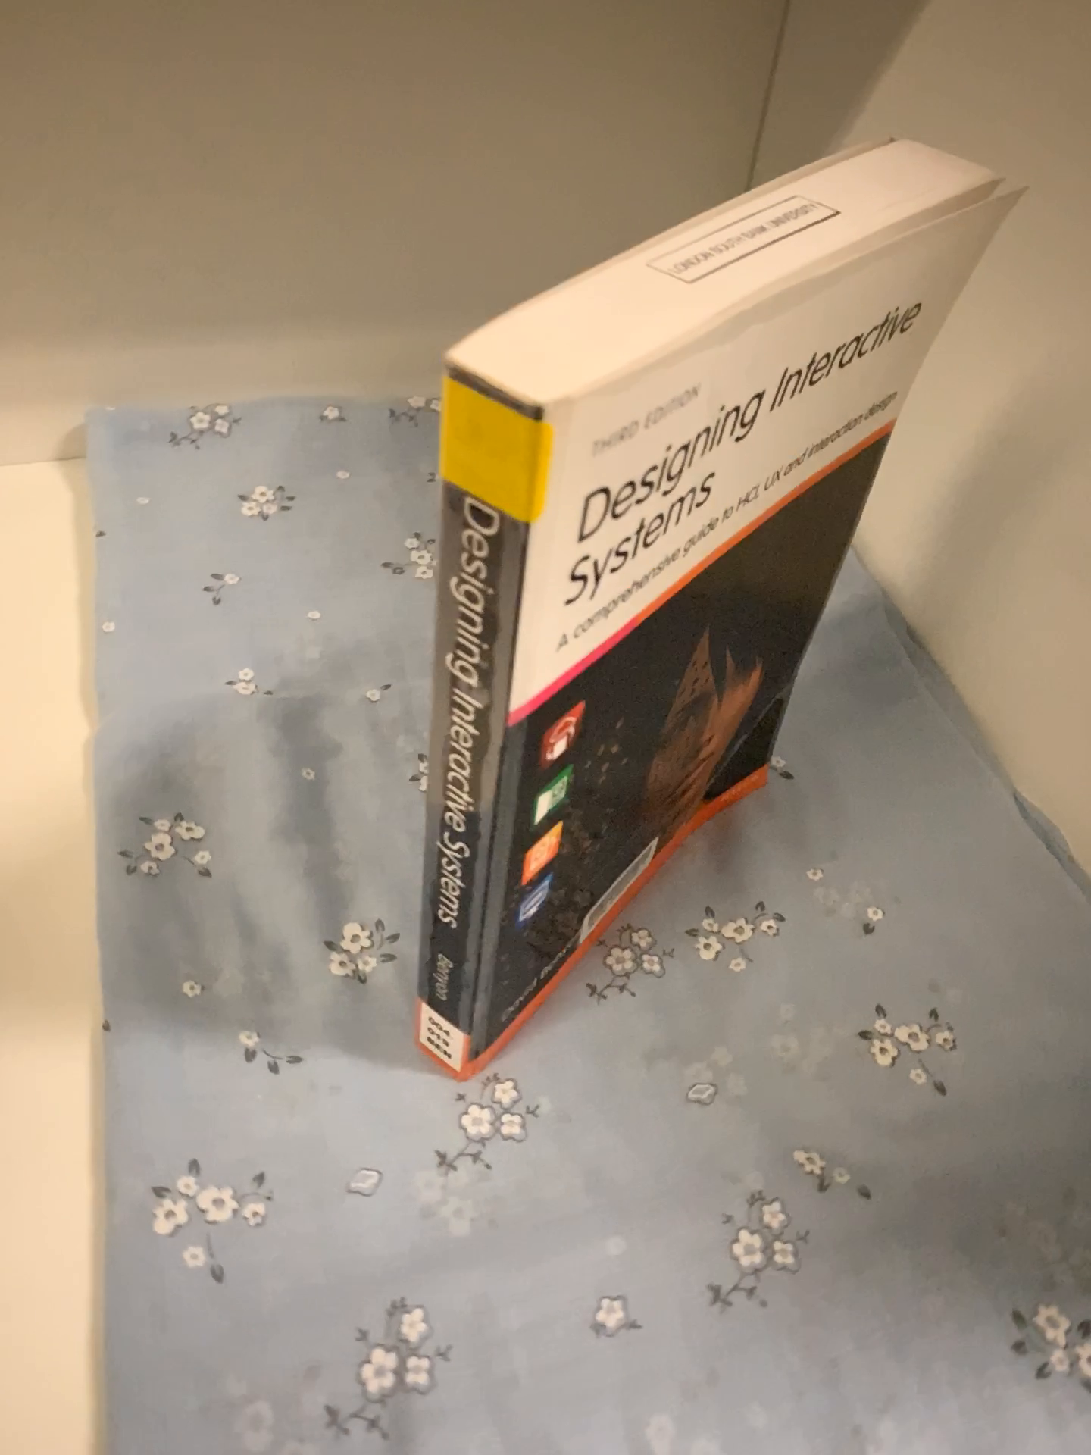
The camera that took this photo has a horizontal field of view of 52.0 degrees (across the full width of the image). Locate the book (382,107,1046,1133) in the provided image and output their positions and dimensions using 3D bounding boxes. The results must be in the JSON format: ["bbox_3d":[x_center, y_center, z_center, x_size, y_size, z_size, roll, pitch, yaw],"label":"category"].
[{"bbox_3d":[0.041,-0.023,0.351,0.041,0.269,0.216,33,50,22],"label":"book"}]
